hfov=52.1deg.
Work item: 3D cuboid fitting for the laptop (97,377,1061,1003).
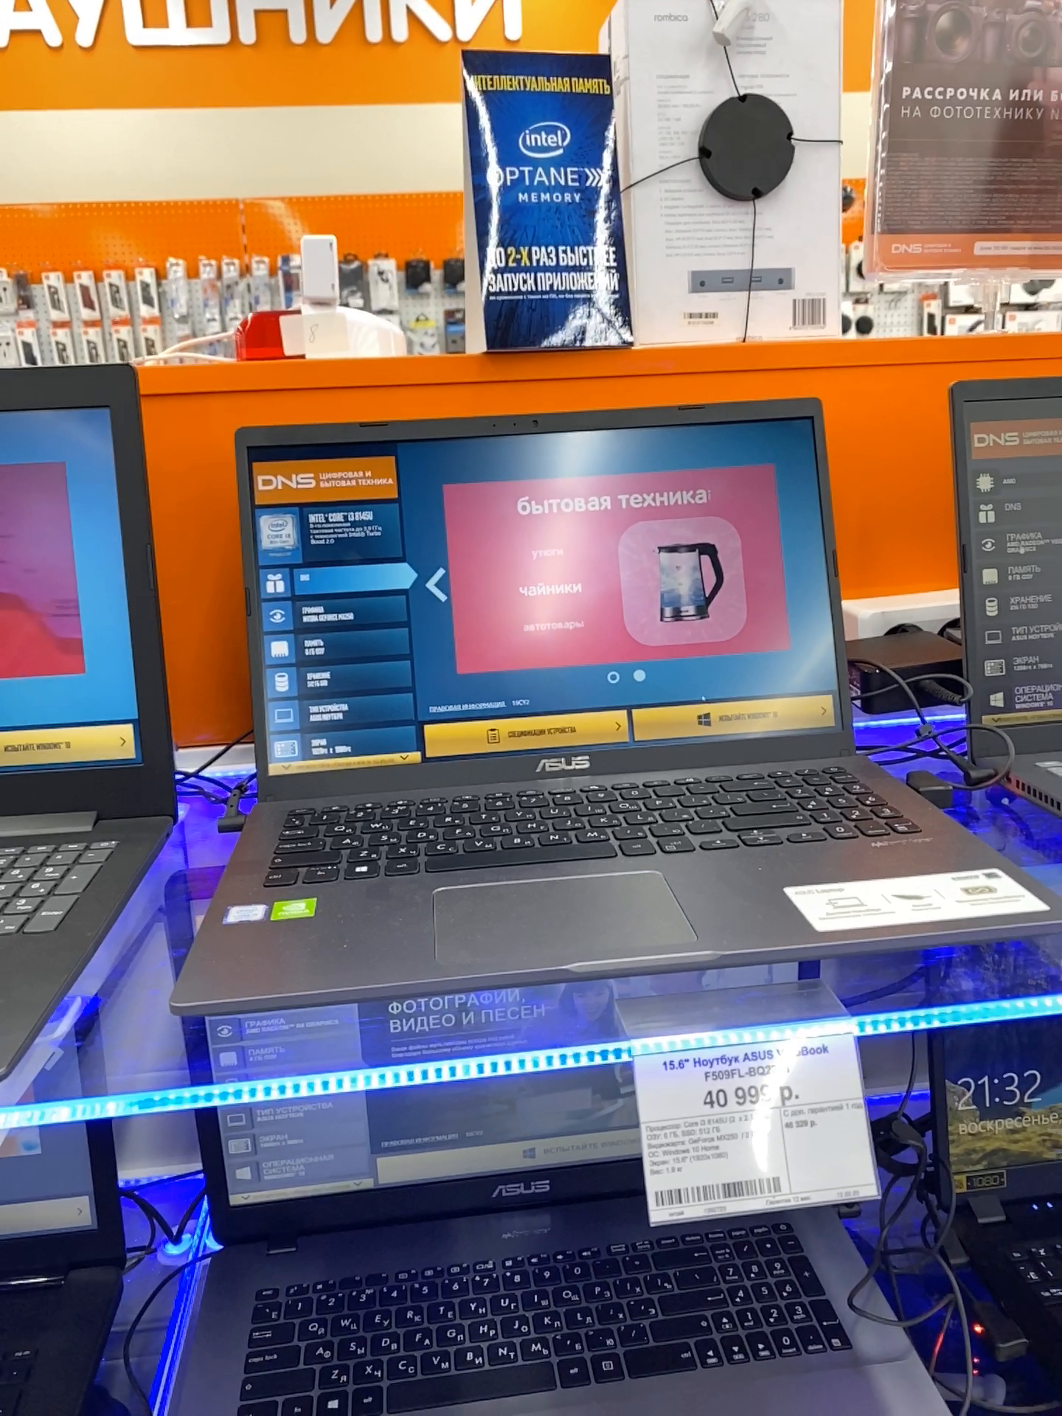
[{"bbox_3d":[0.023,-0.042,0.545,0.357,0.211,0.307,-4,14,-5],"label":"laptop"}]
